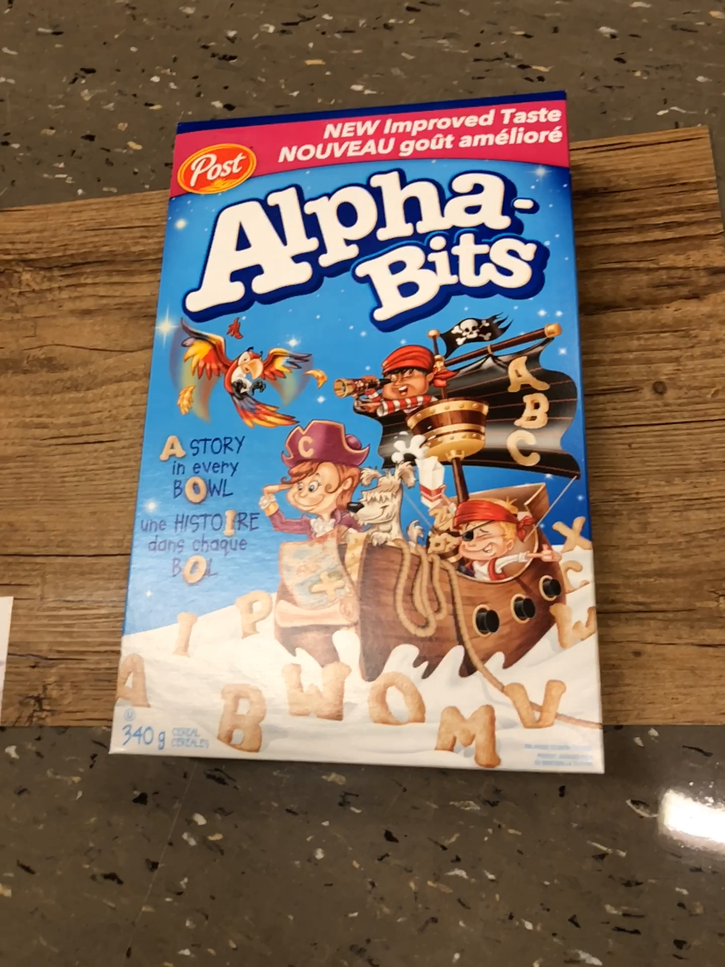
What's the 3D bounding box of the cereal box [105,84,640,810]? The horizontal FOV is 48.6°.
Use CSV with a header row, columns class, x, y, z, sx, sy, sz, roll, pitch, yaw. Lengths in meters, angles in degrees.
class,x,y,z,sx,sy,sz,roll,pitch,yaw
cereal box,0.008,-0.025,0.369,0.200,0.060,0.310,-1,73,10
